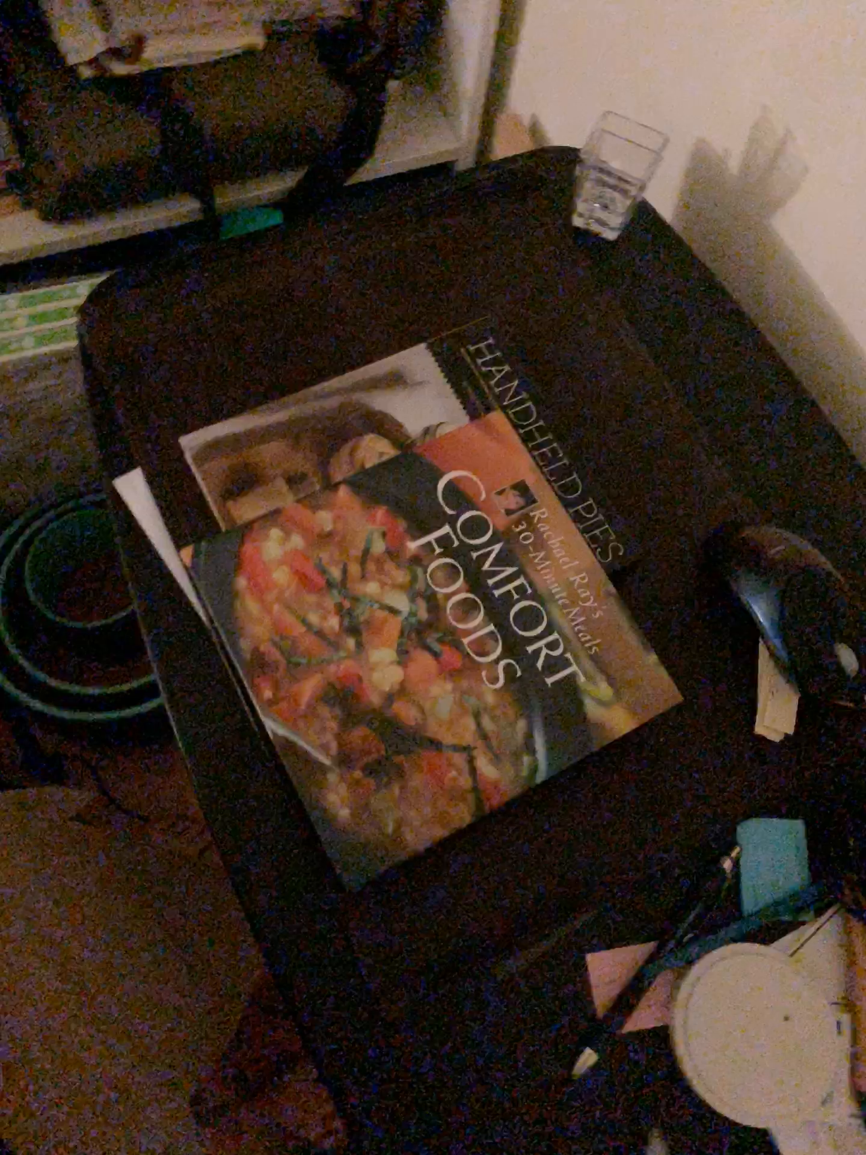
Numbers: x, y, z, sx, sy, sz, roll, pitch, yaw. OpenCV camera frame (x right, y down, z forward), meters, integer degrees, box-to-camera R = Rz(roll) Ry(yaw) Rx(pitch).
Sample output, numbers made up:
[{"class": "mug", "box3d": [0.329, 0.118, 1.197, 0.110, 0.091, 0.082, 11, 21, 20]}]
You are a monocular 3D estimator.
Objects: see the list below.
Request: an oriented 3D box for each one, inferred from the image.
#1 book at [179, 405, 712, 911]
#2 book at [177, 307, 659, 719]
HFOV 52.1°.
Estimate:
[{"class": "book", "box3d": [0.005, 0.030, 0.474, 0.210, 0.020, 0.200, -26, 73, -15]}, {"class": "book", "box3d": [-0.009, -0.048, 0.520, 0.220, 0.020, 0.180, -25, 73, -14]}]
